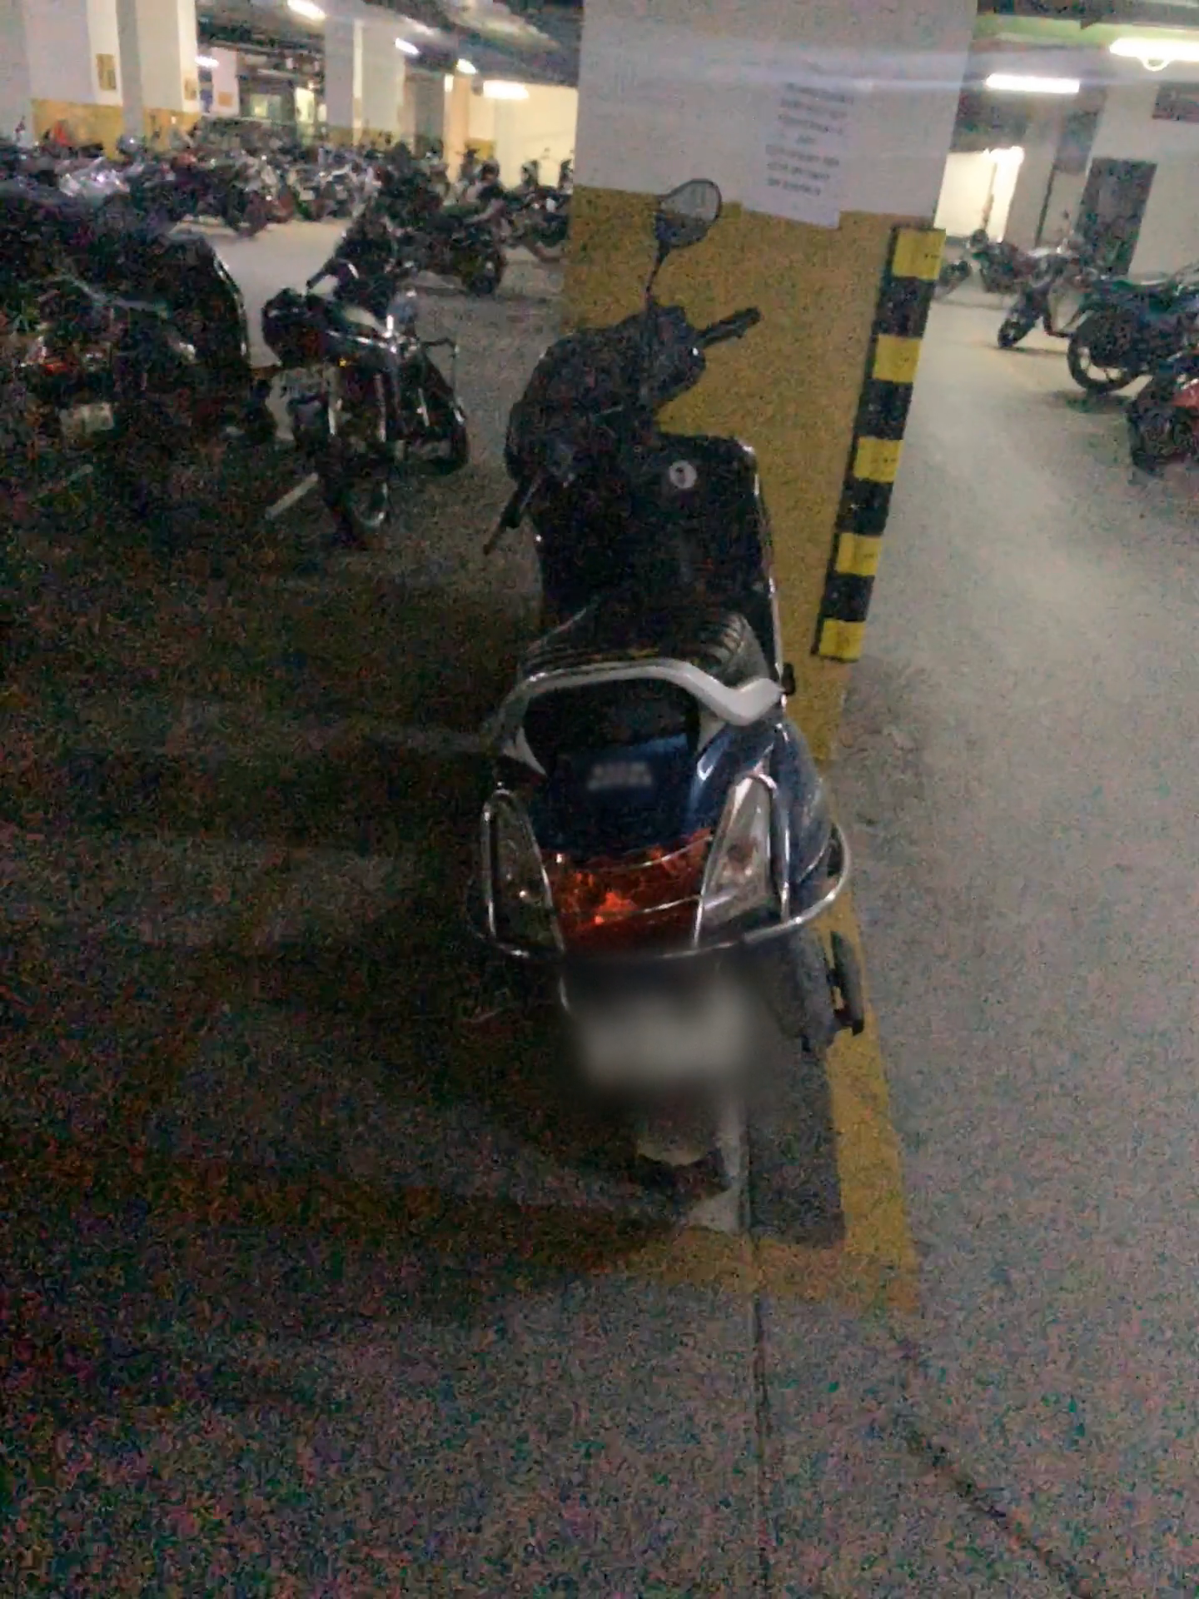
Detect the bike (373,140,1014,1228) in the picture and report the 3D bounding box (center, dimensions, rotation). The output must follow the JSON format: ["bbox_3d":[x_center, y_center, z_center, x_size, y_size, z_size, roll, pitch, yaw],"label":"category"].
[{"bbox_3d":[0.001,-0.286,1.956,0.630,1.062,1.276,2,33,-7],"label":"bike"}]
